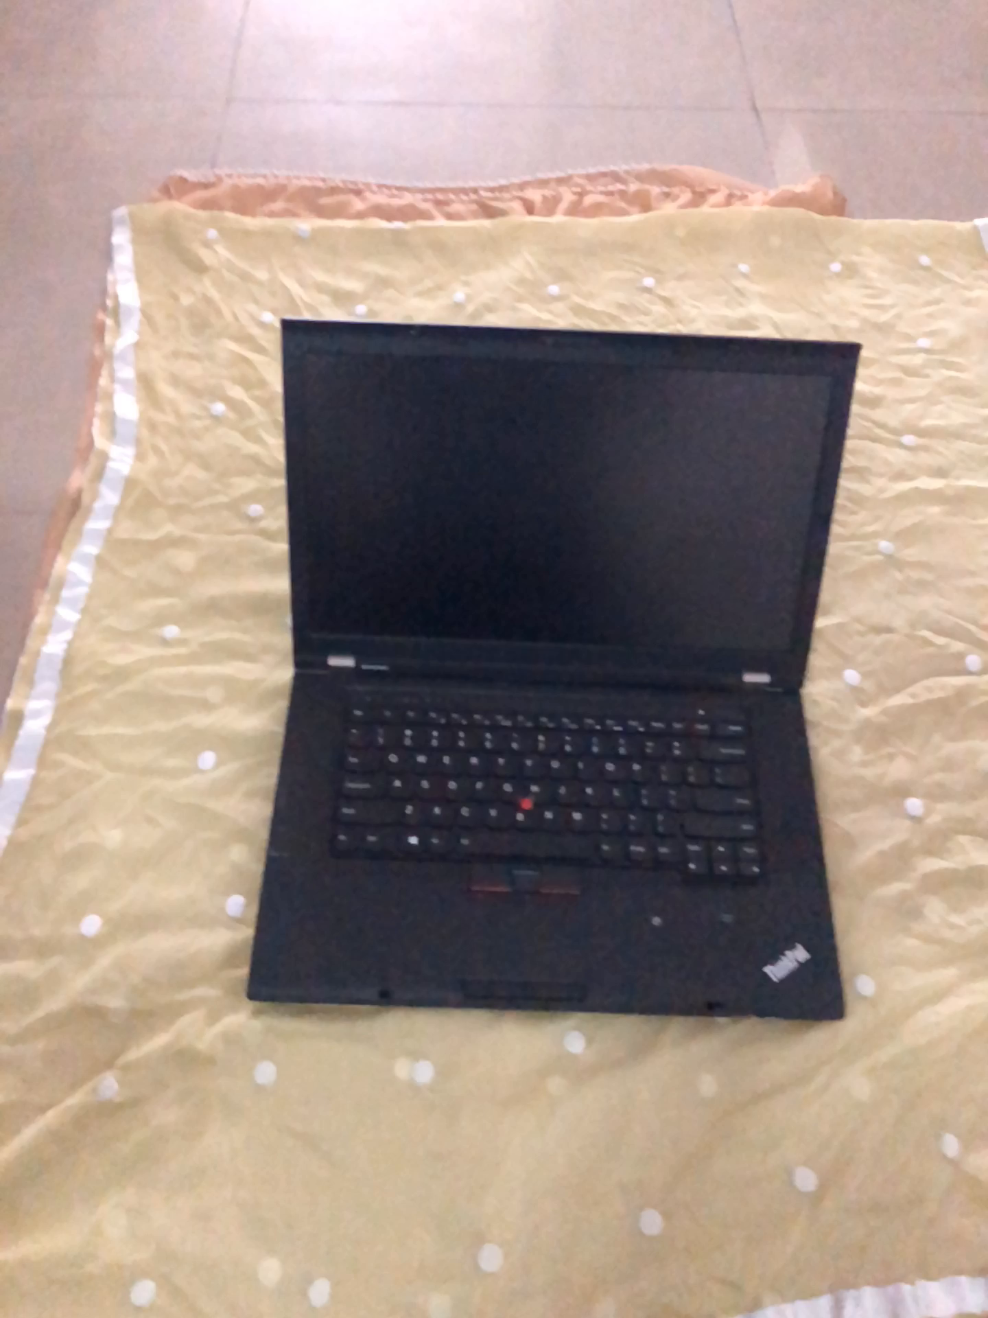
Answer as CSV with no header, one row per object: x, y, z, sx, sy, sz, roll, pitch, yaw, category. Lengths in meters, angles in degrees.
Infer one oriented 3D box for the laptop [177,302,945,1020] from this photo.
0.036,-0.001,0.685,0.363,0.191,0.381,2,61,-1,laptop
